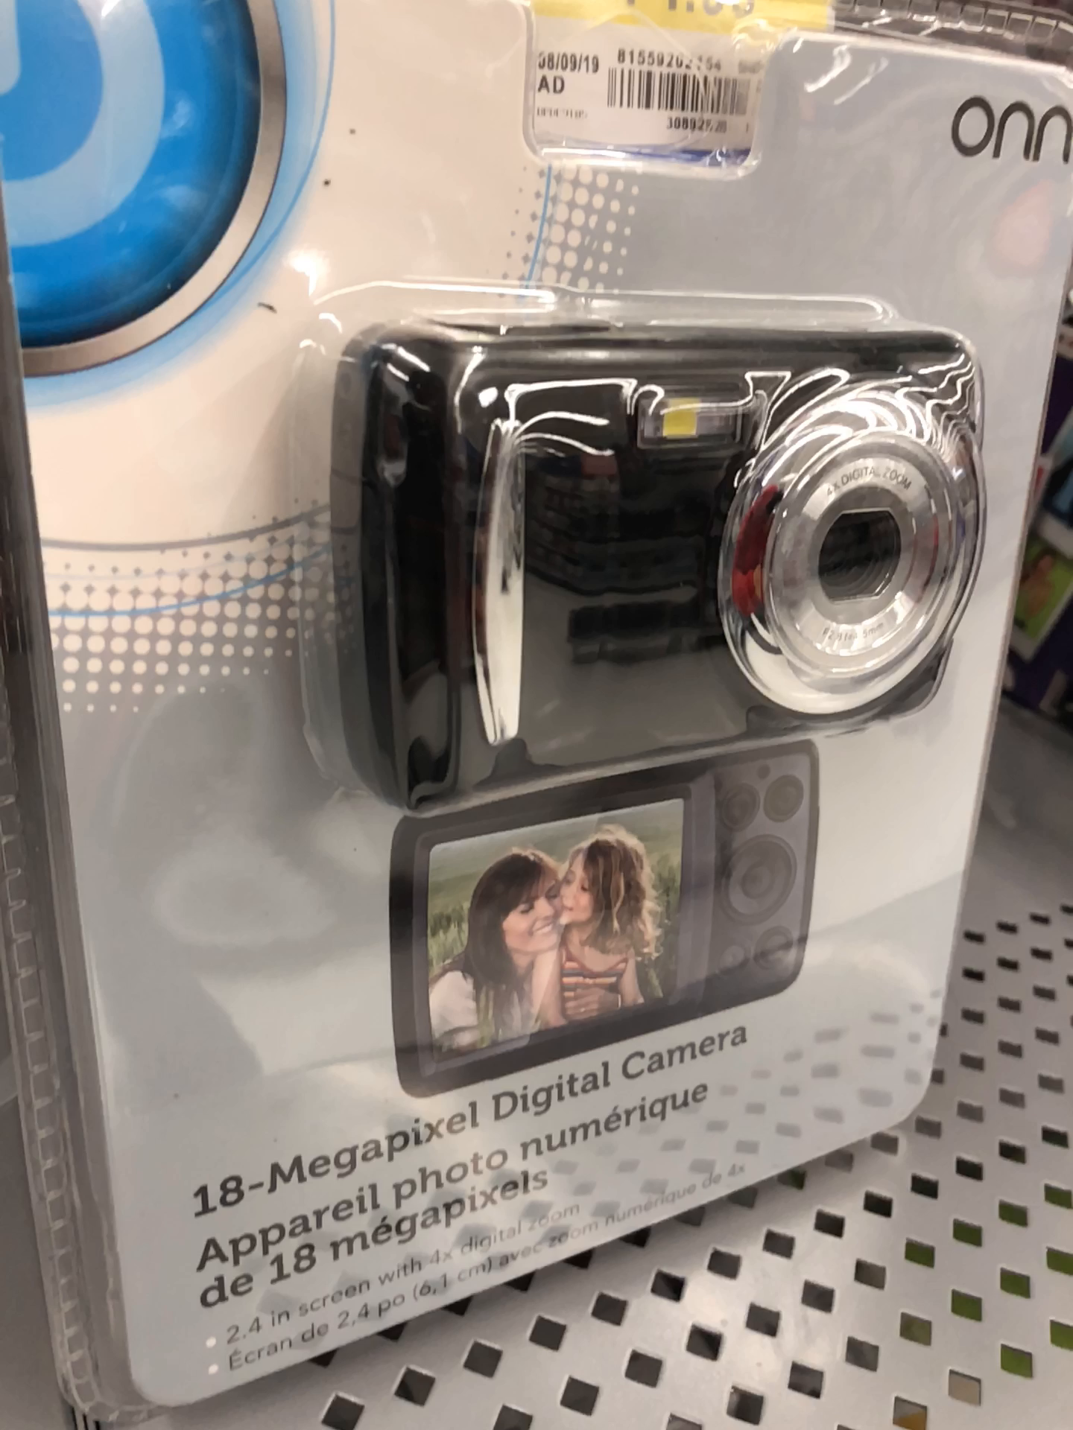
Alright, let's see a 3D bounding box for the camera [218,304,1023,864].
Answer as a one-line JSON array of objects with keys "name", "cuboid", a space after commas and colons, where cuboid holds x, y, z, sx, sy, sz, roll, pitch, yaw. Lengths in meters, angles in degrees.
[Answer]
[{"name": "camera", "cuboid": [0.013, -0.023, 0.164, 0.100, 0.060, 0.030, -9, 24, -25]}]
